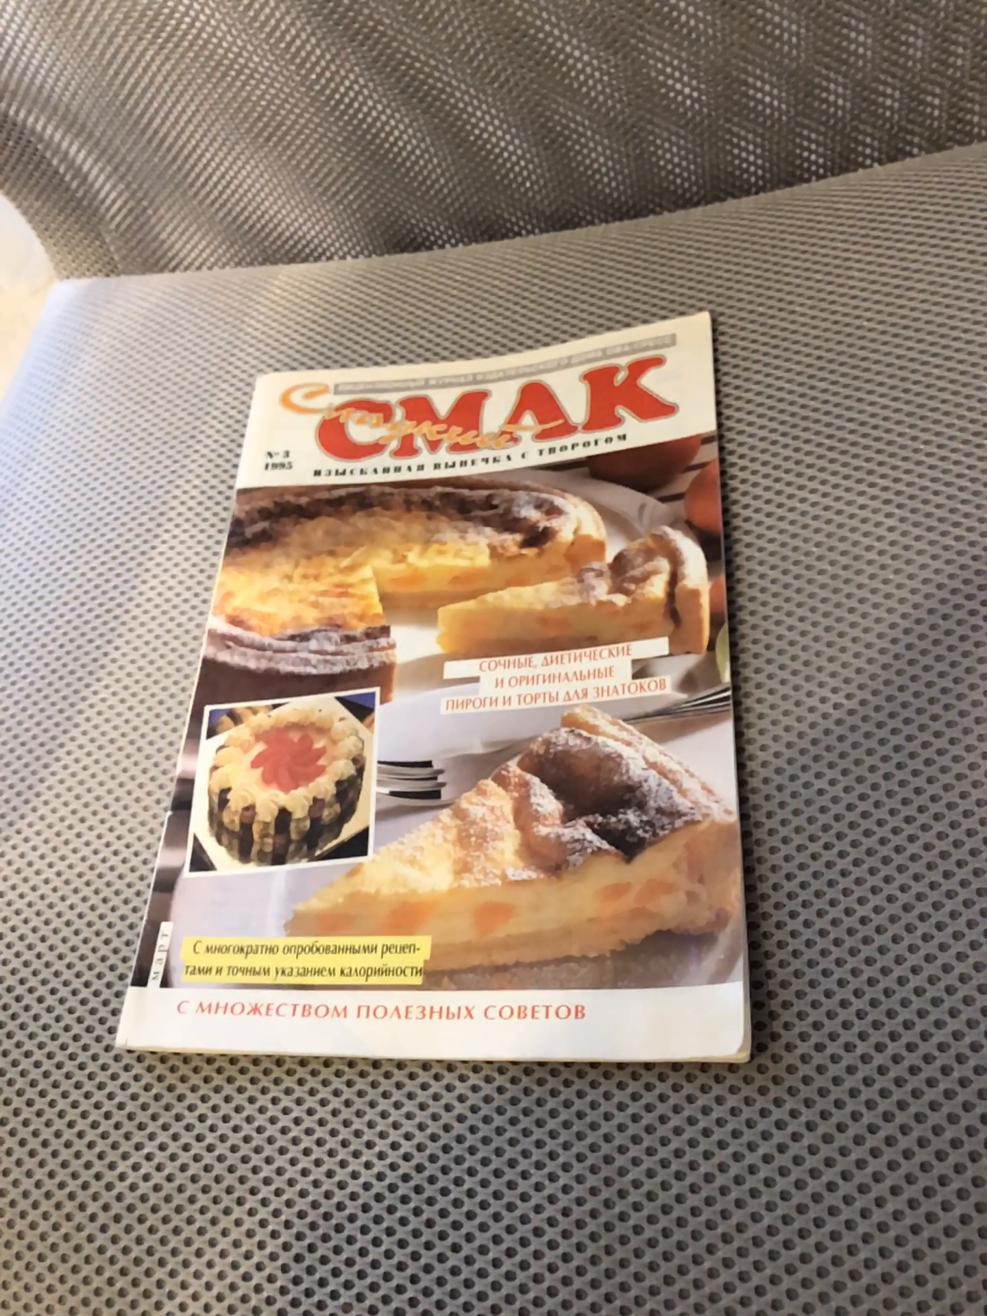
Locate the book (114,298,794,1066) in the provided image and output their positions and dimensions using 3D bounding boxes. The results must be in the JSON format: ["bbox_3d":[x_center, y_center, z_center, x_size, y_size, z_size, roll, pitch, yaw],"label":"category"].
[{"bbox_3d":[-0.010,-0.003,0.324,0.174,0.010,0.232,-5,61,15],"label":"book"}]
